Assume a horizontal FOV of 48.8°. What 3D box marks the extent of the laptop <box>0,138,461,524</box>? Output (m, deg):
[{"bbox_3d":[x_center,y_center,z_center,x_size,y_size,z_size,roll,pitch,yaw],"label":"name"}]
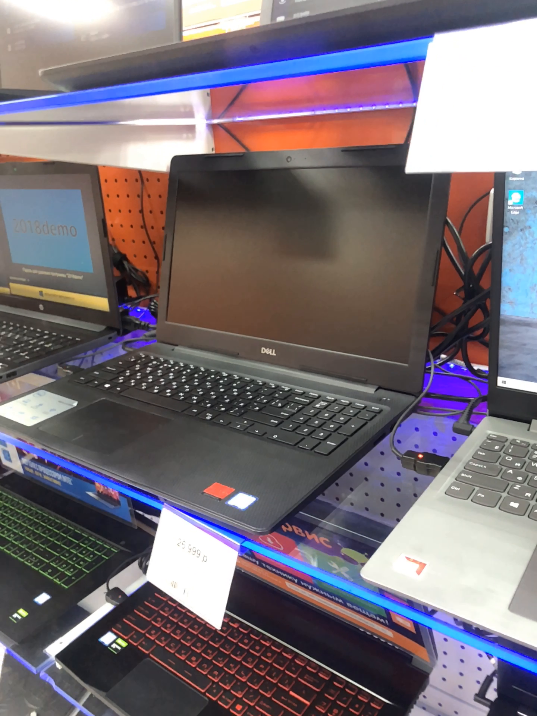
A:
[{"bbox_3d":[-0.058,-0.077,0.580,0.374,0.233,0.317,11,24,35],"label":"laptop"}]
